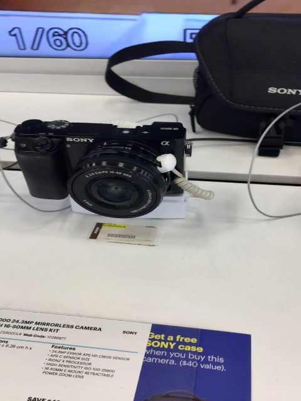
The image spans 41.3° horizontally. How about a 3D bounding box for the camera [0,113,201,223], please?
[{"bbox_3d":[-0.041,-0.027,0.305,0.150,0.056,0.066,3,42,7],"label":"camera"}]
